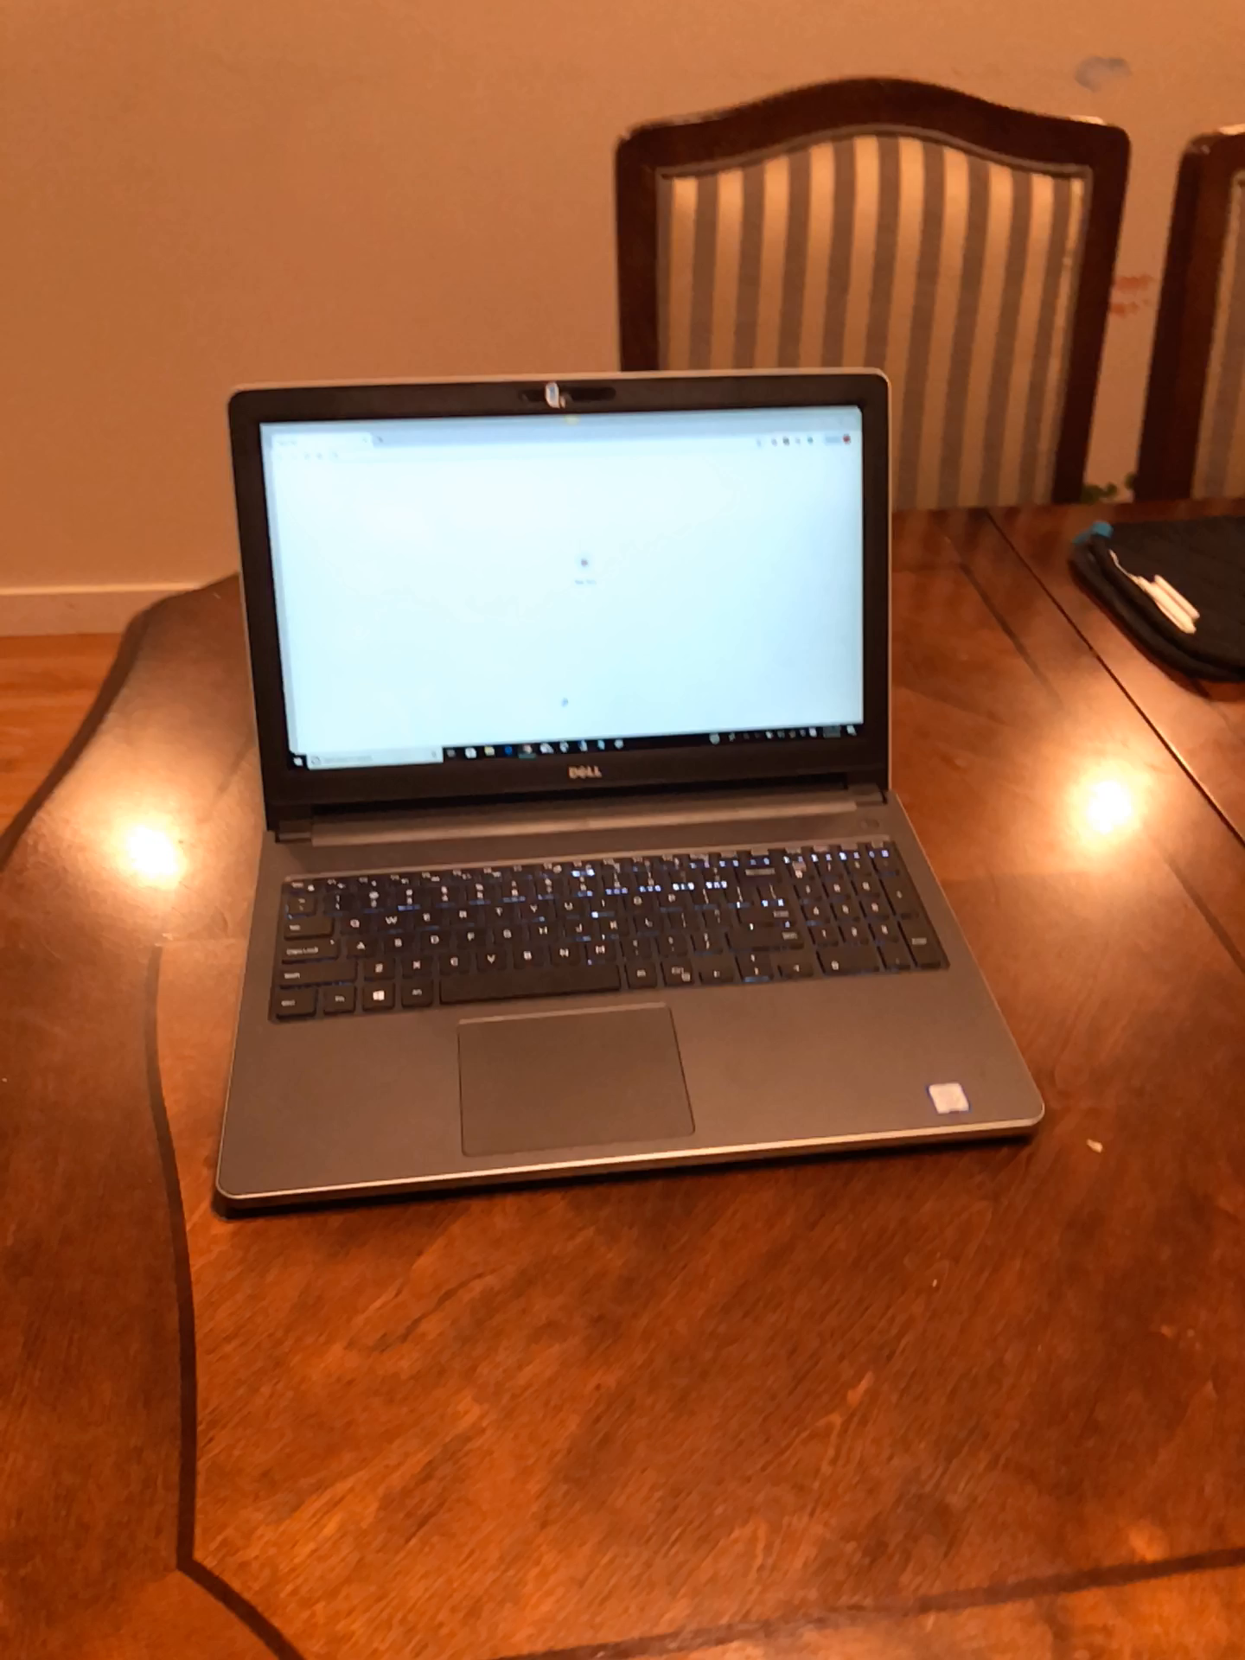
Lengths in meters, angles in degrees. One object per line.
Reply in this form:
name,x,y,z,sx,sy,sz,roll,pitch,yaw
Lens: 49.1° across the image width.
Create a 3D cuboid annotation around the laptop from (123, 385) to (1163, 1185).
laptop,-0.009,-0.050,0.687,0.369,0.212,0.362,-3,38,-6
